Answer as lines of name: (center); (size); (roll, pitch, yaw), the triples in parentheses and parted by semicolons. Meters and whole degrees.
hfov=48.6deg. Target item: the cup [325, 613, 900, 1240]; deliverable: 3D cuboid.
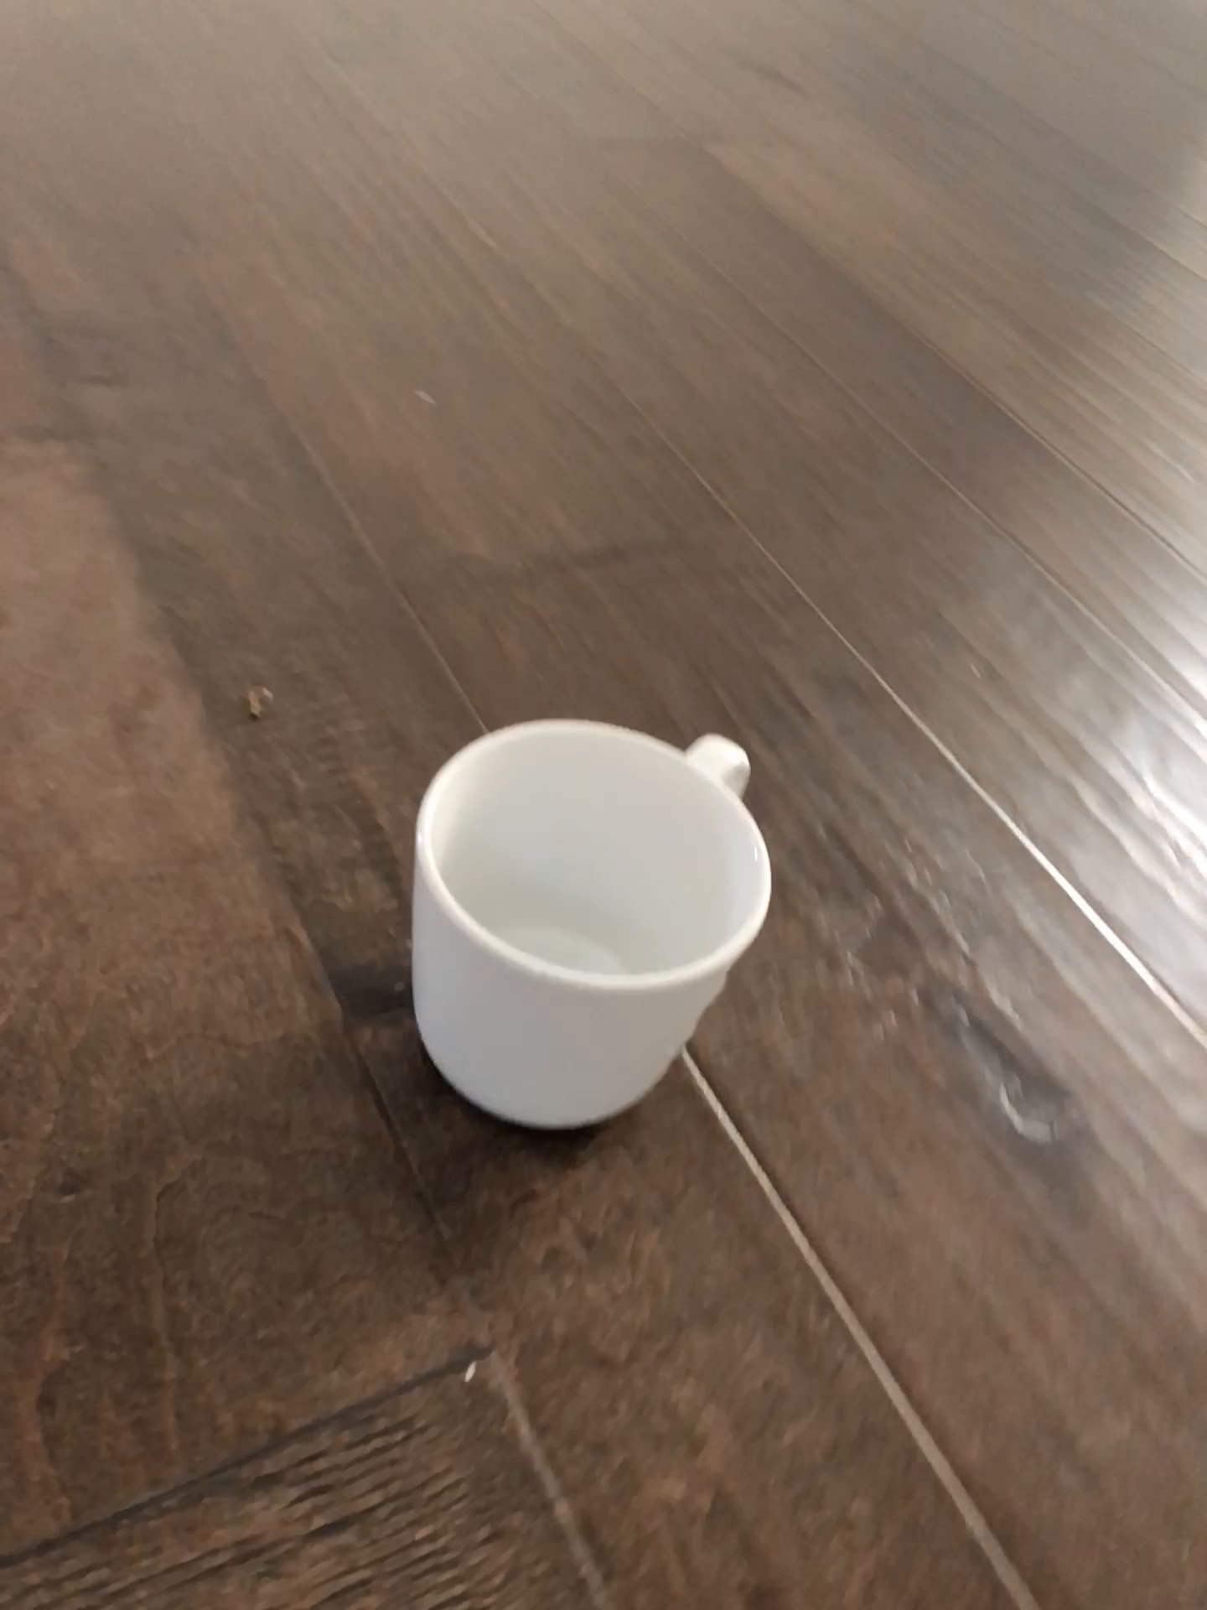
cup: (0.002, 0.026, 0.345); (0.090, 0.079, 0.111); (31, 45, 15)
